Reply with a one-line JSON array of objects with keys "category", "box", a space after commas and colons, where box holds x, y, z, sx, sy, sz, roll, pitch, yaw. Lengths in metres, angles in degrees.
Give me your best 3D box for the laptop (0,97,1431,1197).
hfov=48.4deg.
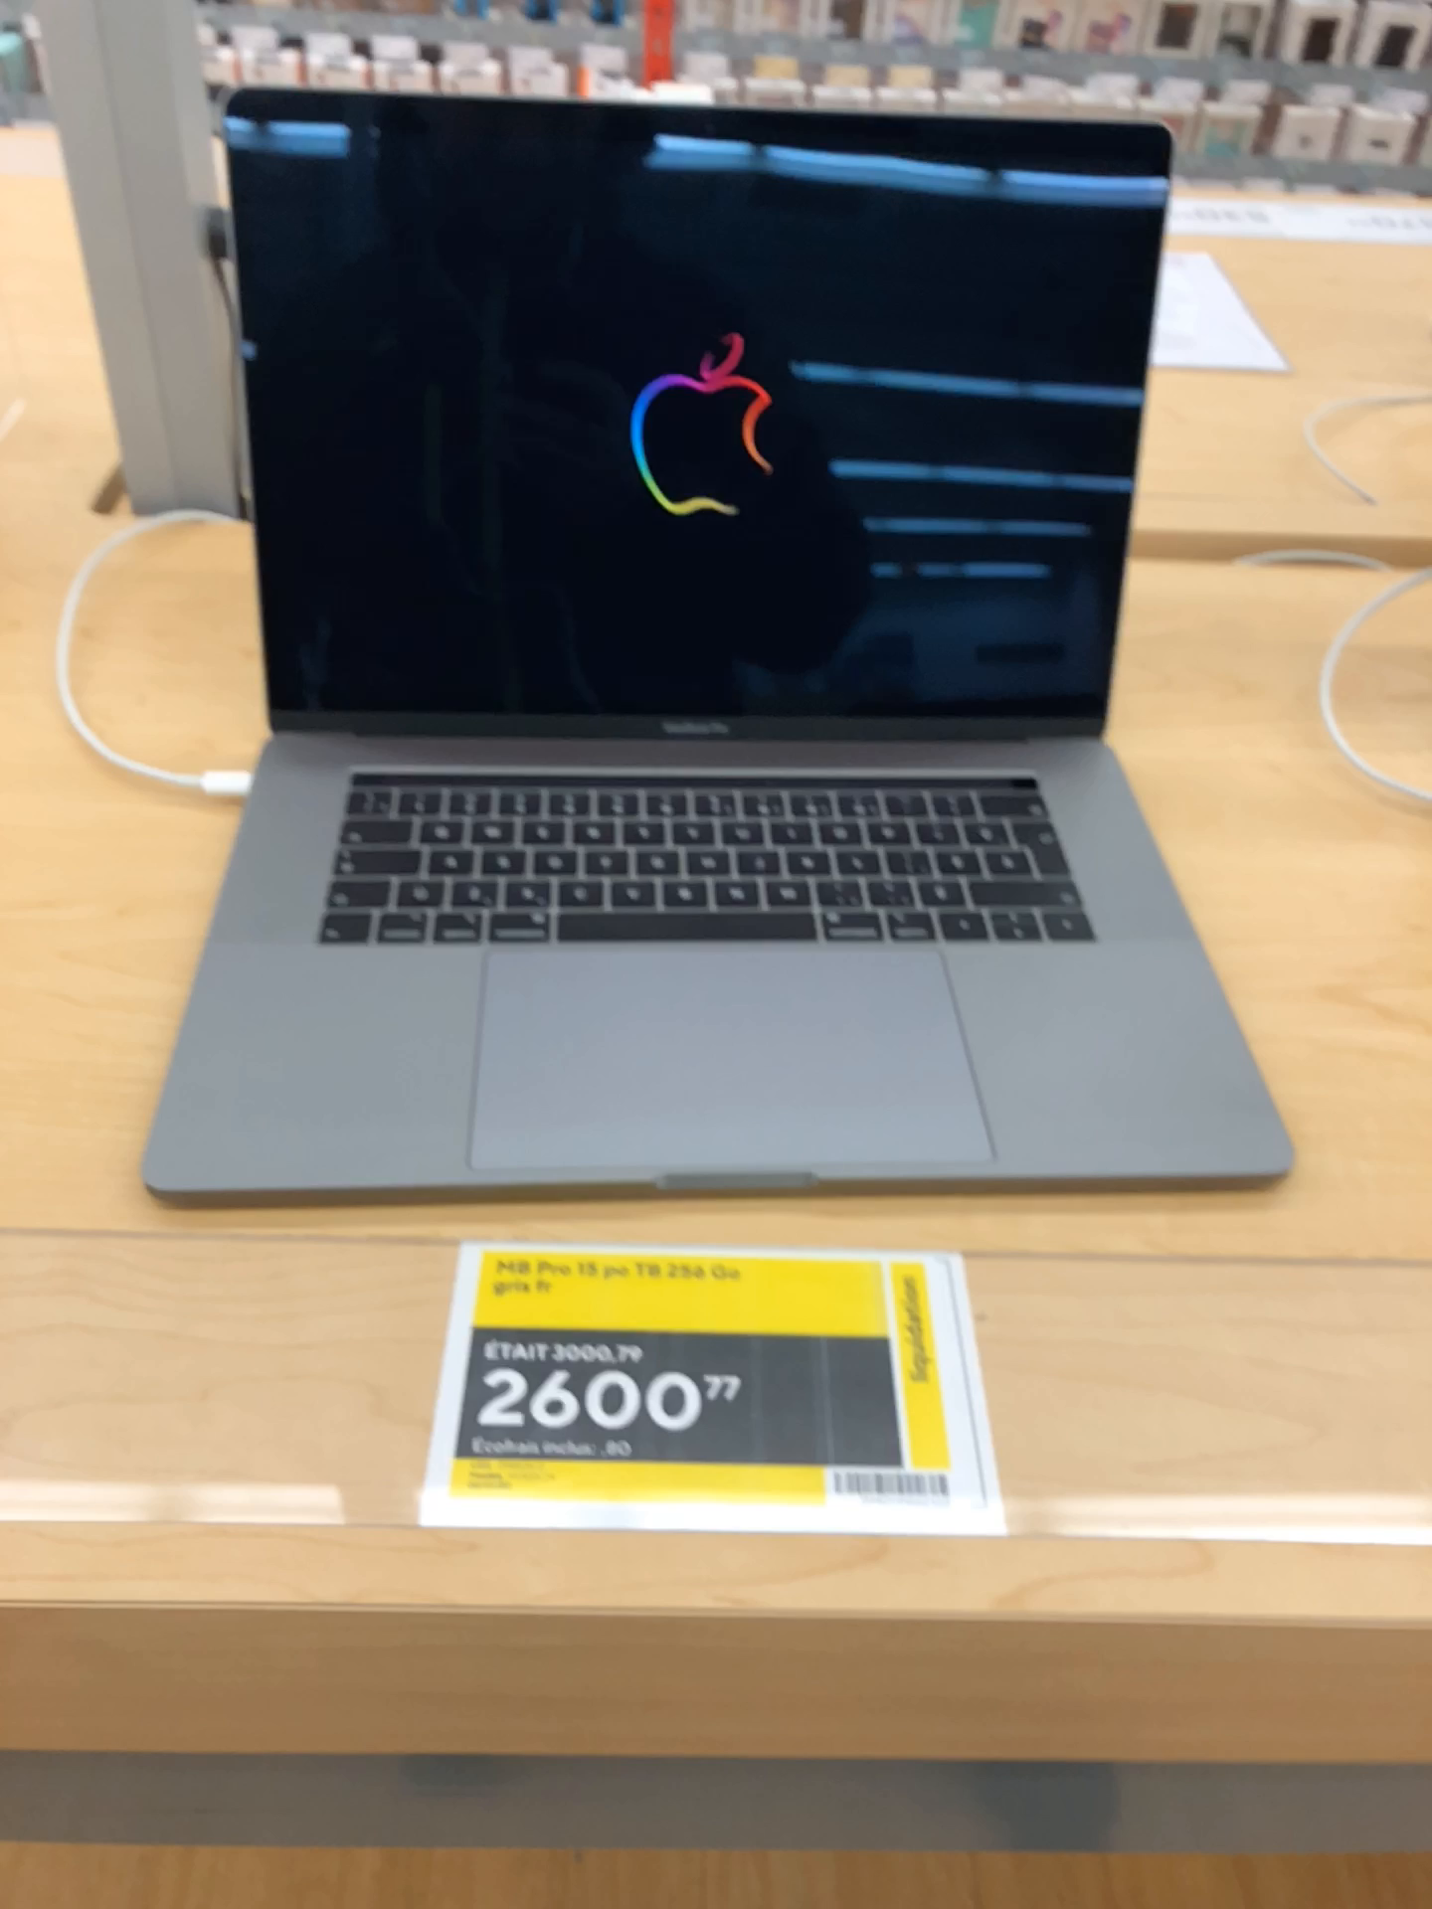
[{"category": "laptop", "box": [0.004, -0.113, 0.509, 0.329, 0.212, 0.299, 0, 41, -6]}]
